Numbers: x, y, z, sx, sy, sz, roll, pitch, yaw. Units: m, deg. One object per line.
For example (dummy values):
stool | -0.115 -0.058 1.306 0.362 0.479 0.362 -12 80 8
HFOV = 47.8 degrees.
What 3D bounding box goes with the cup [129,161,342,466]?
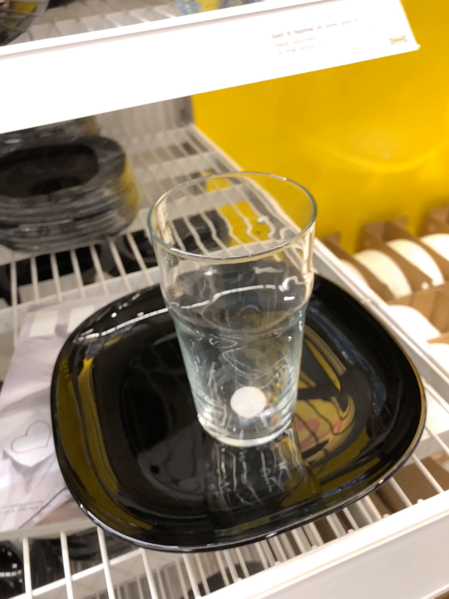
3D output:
cup | 0.008 0.009 0.290 0.090 0.139 0.090 -4 36 3
